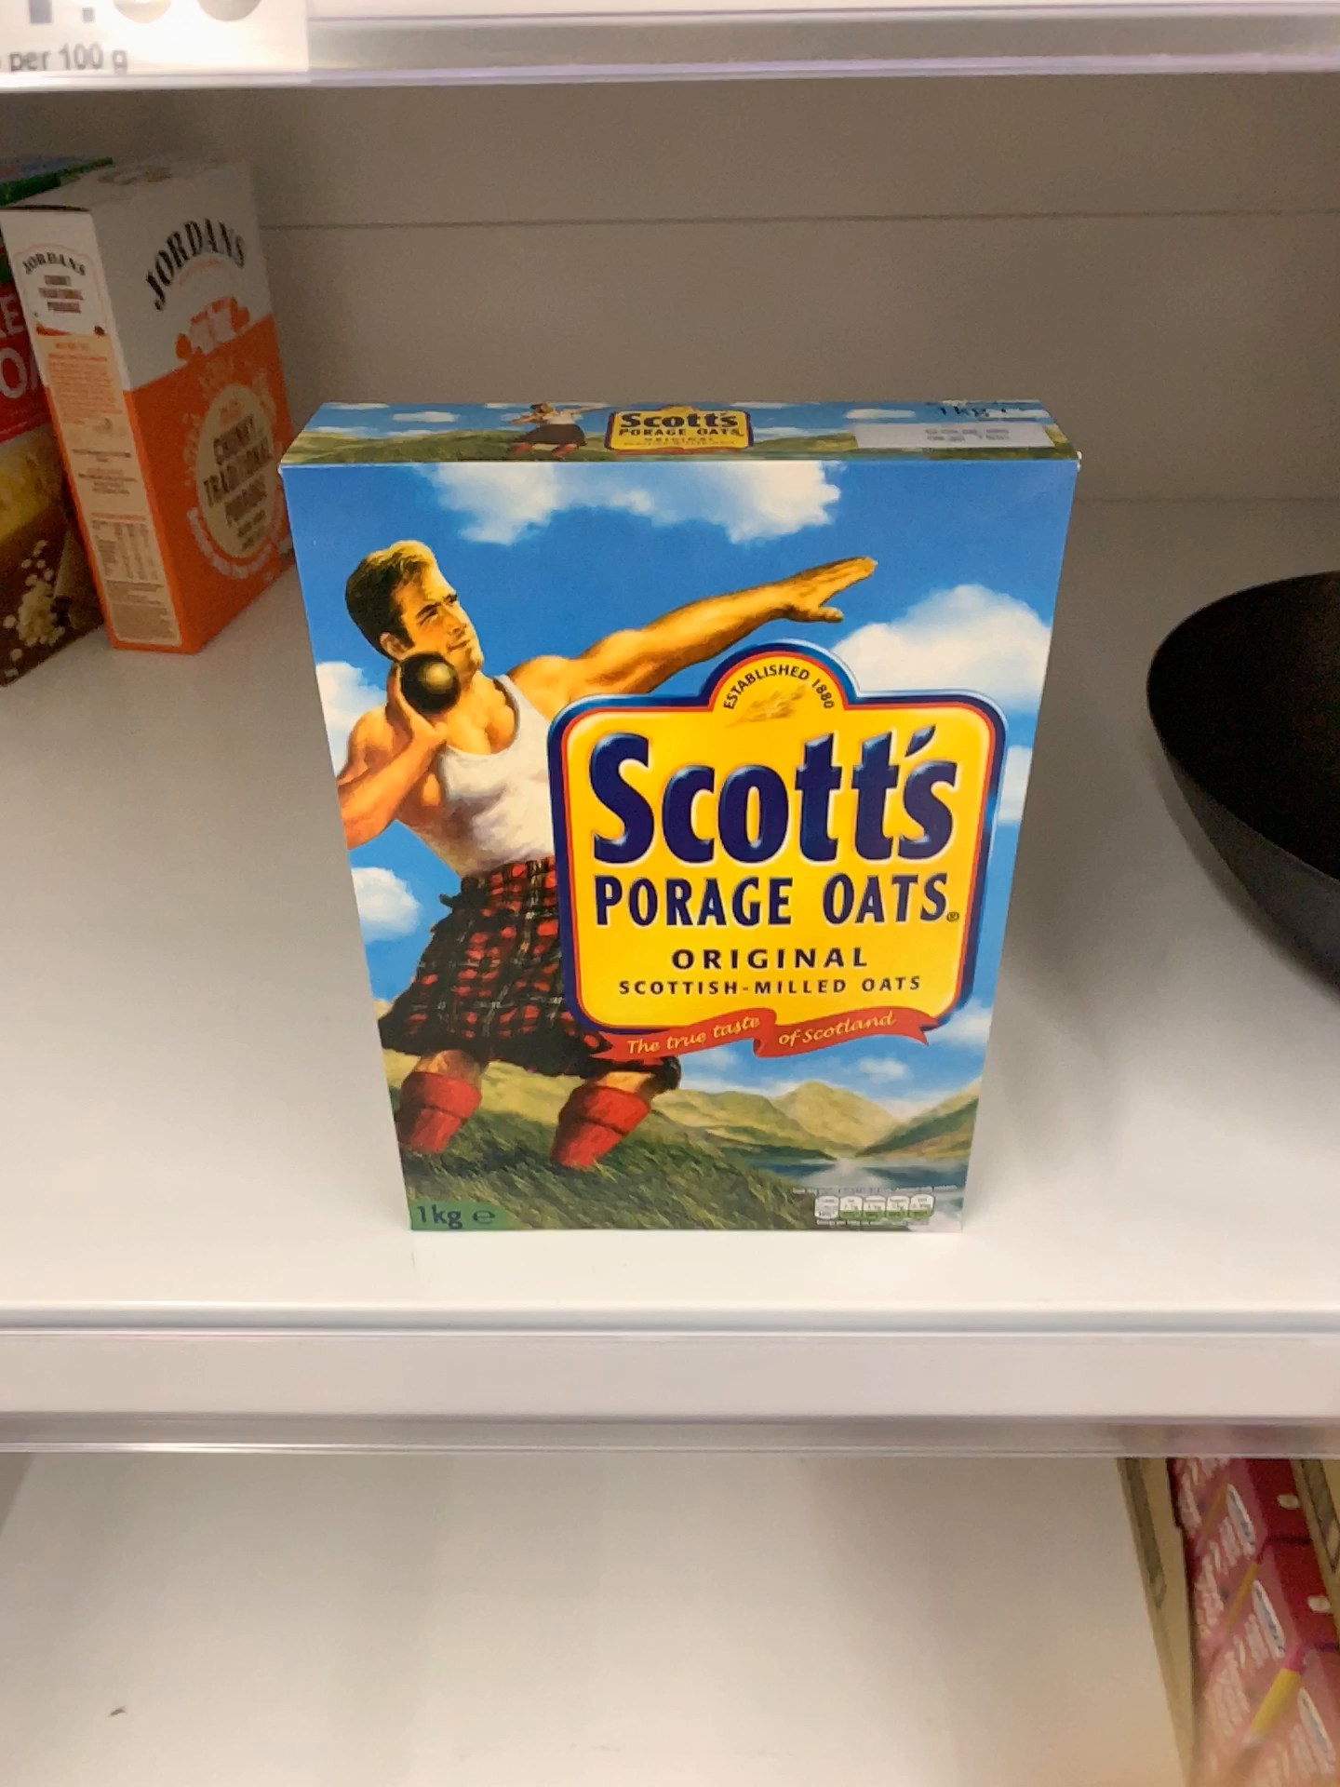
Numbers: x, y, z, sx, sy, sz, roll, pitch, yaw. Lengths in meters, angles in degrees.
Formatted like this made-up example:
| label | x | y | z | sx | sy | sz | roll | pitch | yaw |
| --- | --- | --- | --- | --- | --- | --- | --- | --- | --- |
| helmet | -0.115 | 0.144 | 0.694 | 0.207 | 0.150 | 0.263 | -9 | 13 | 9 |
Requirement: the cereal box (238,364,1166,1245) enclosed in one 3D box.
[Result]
| label | x | y | z | sx | sy | sz | roll | pitch | yaw |
| --- | --- | --- | --- | --- | --- | --- | --- | --- | --- |
| cereal box | 0.009 | -0.011 | 0.418 | 0.210 | 0.267 | 0.071 | 0 | 35 | 1 |
